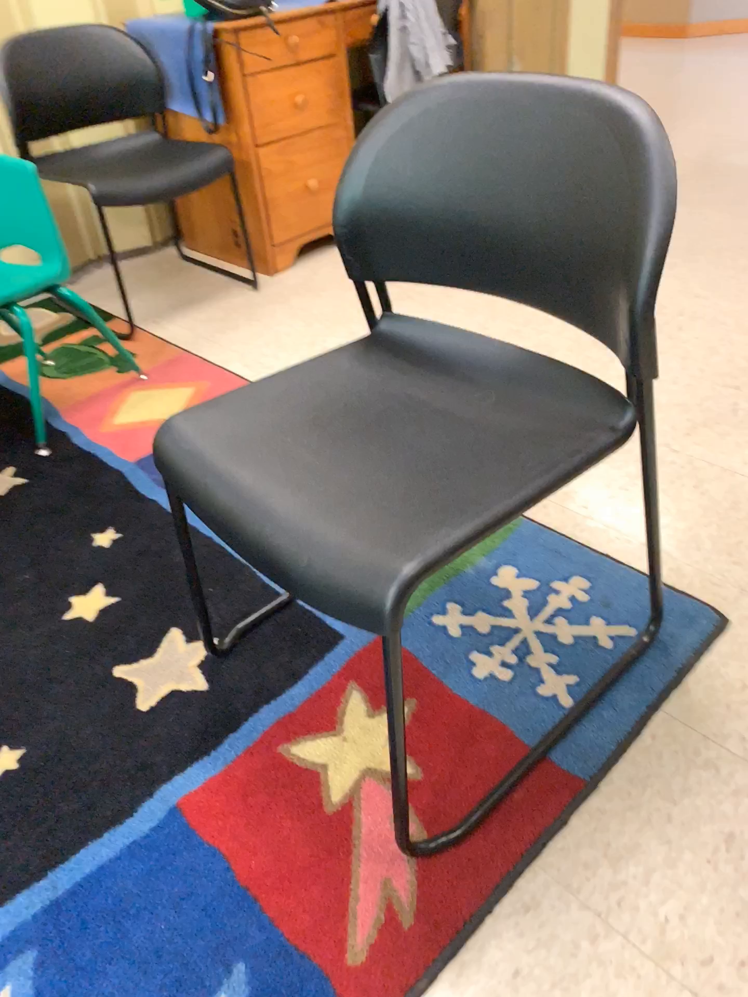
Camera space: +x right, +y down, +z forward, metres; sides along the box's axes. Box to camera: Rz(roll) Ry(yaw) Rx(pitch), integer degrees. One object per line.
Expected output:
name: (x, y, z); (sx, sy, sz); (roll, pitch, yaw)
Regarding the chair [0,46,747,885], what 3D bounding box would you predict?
chair: (0.024, -0.089, 0.989); (0.531, 0.785, 0.573); (-33, 44, -32)
